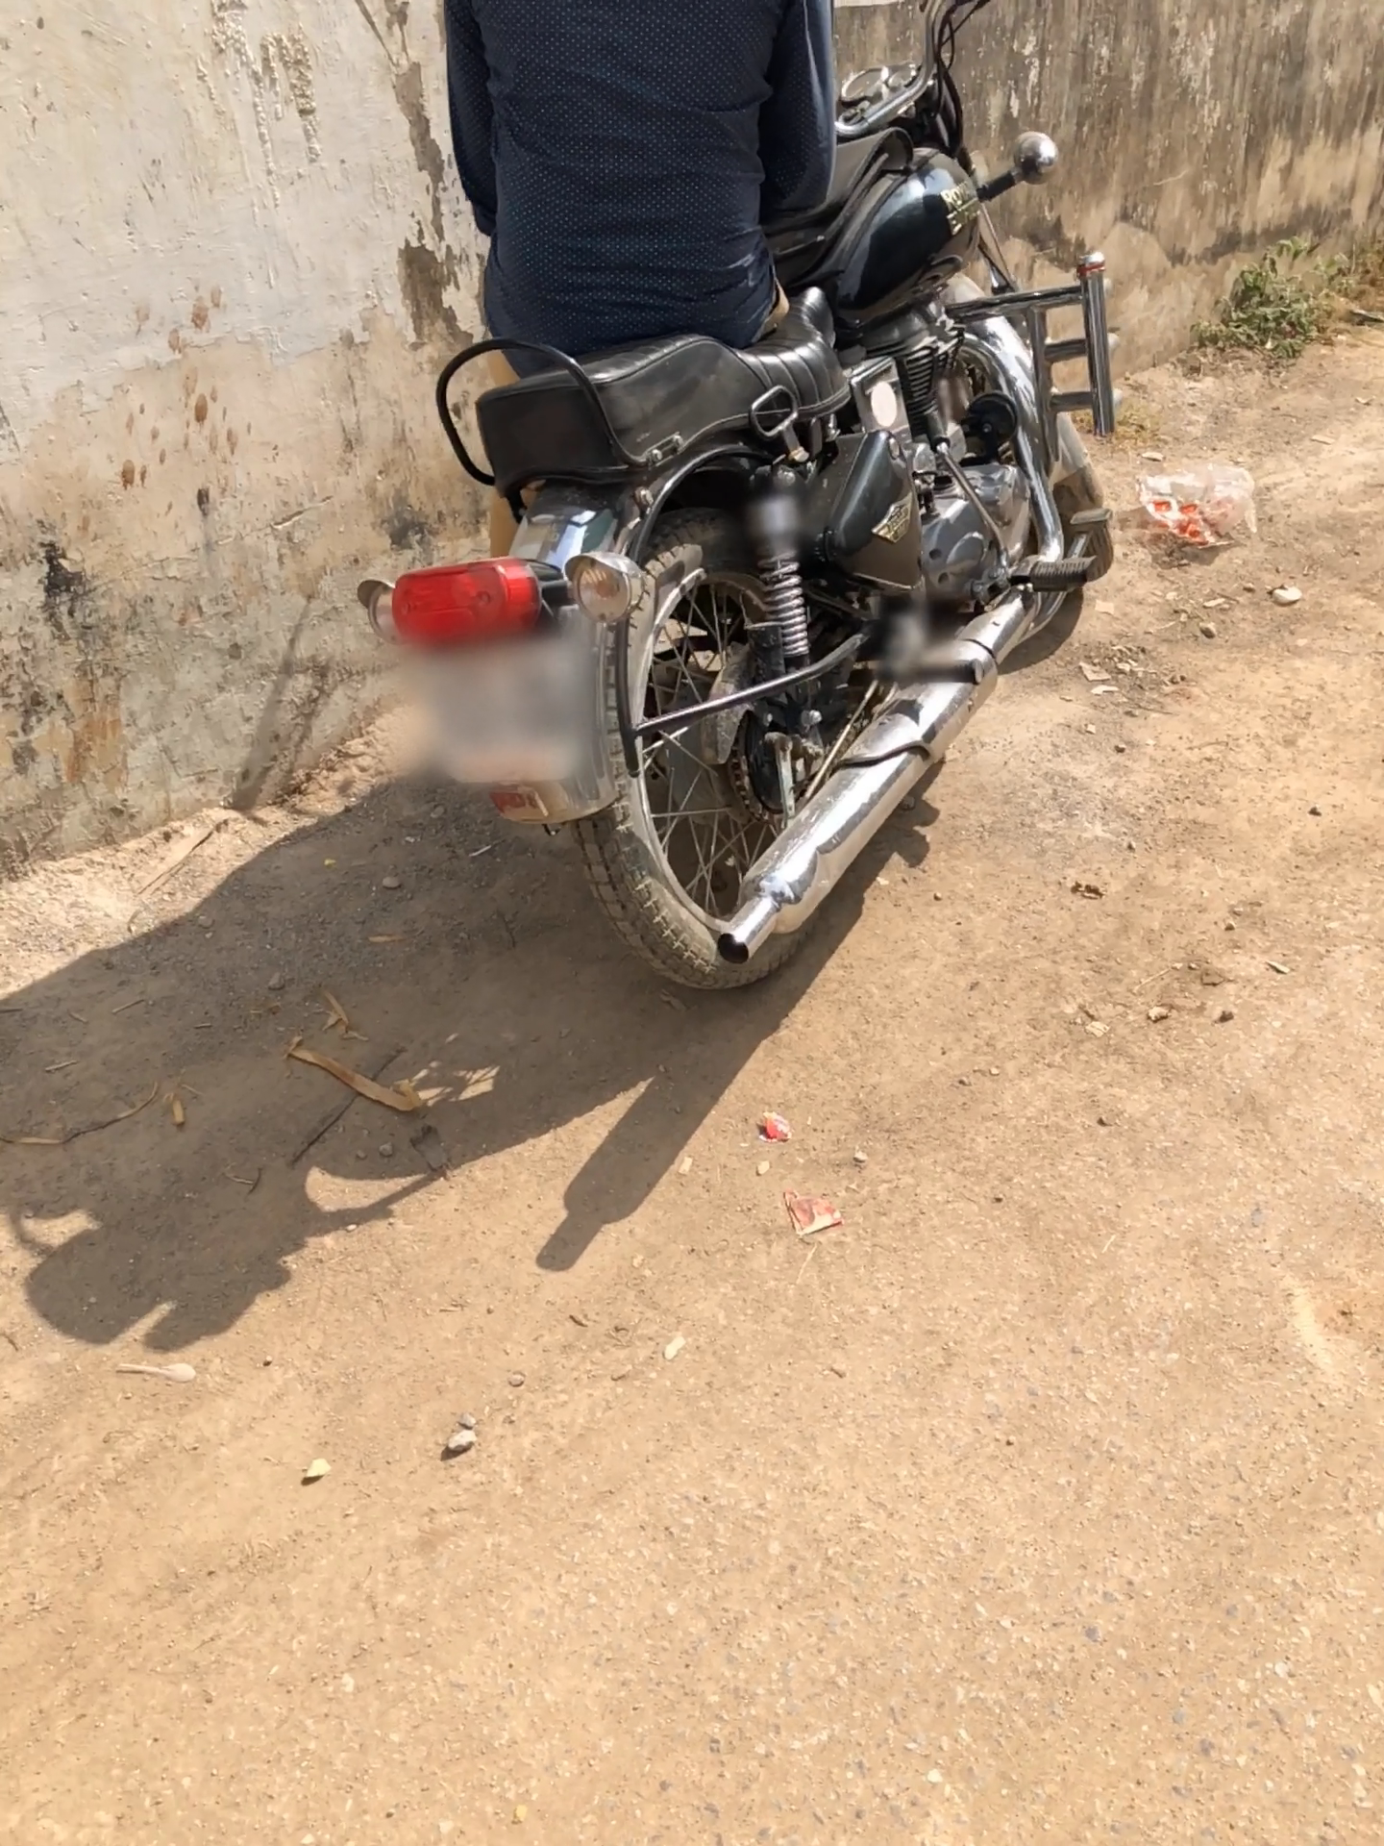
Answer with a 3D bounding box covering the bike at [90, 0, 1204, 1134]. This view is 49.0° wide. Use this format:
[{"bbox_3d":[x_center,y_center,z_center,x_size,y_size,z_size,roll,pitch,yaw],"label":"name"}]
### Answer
[{"bbox_3d":[0.152,-0.952,2.476,0.880,1.317,1.945,12,39,21],"label":"bike"}]
